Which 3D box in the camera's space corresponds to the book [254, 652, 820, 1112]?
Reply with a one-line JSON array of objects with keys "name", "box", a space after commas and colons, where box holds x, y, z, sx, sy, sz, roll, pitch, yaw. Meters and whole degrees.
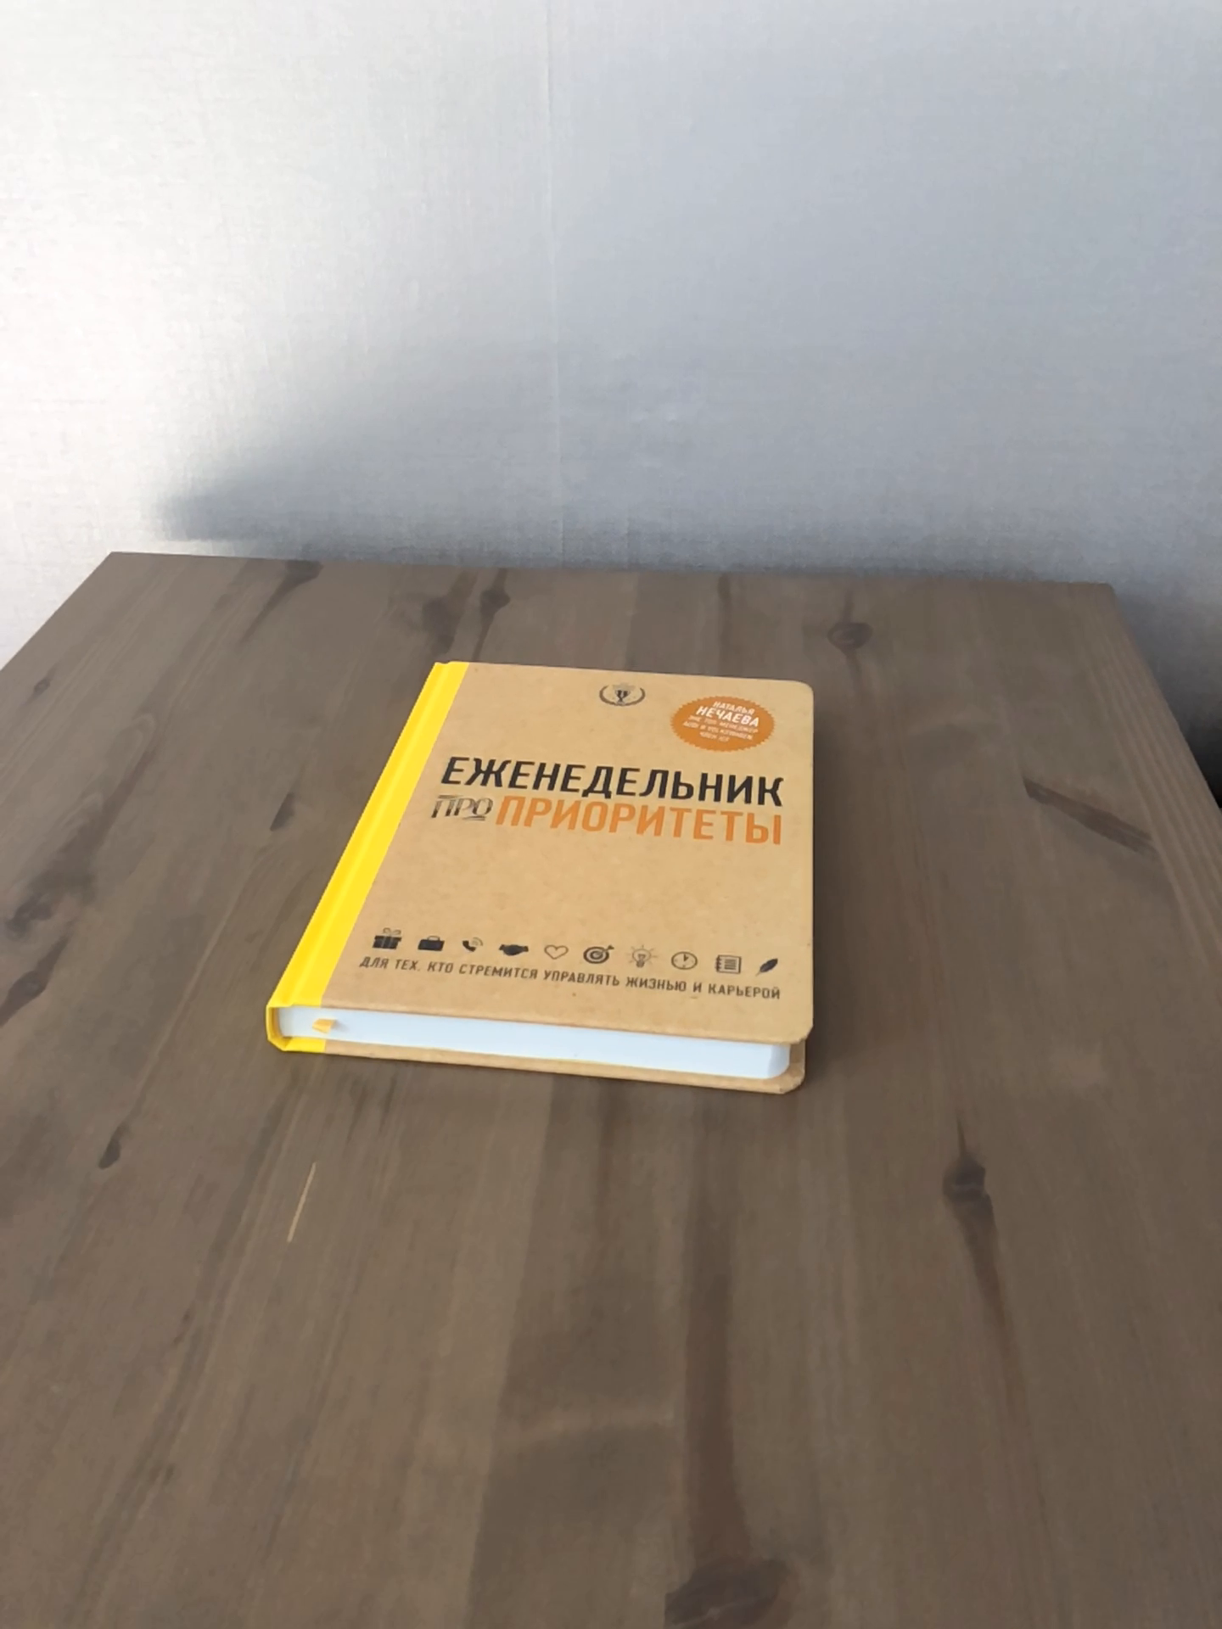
[{"name": "book", "box": [-0.012, 0.010, 0.526, 0.180, 0.032, 0.230, 4, 36, 6]}]
